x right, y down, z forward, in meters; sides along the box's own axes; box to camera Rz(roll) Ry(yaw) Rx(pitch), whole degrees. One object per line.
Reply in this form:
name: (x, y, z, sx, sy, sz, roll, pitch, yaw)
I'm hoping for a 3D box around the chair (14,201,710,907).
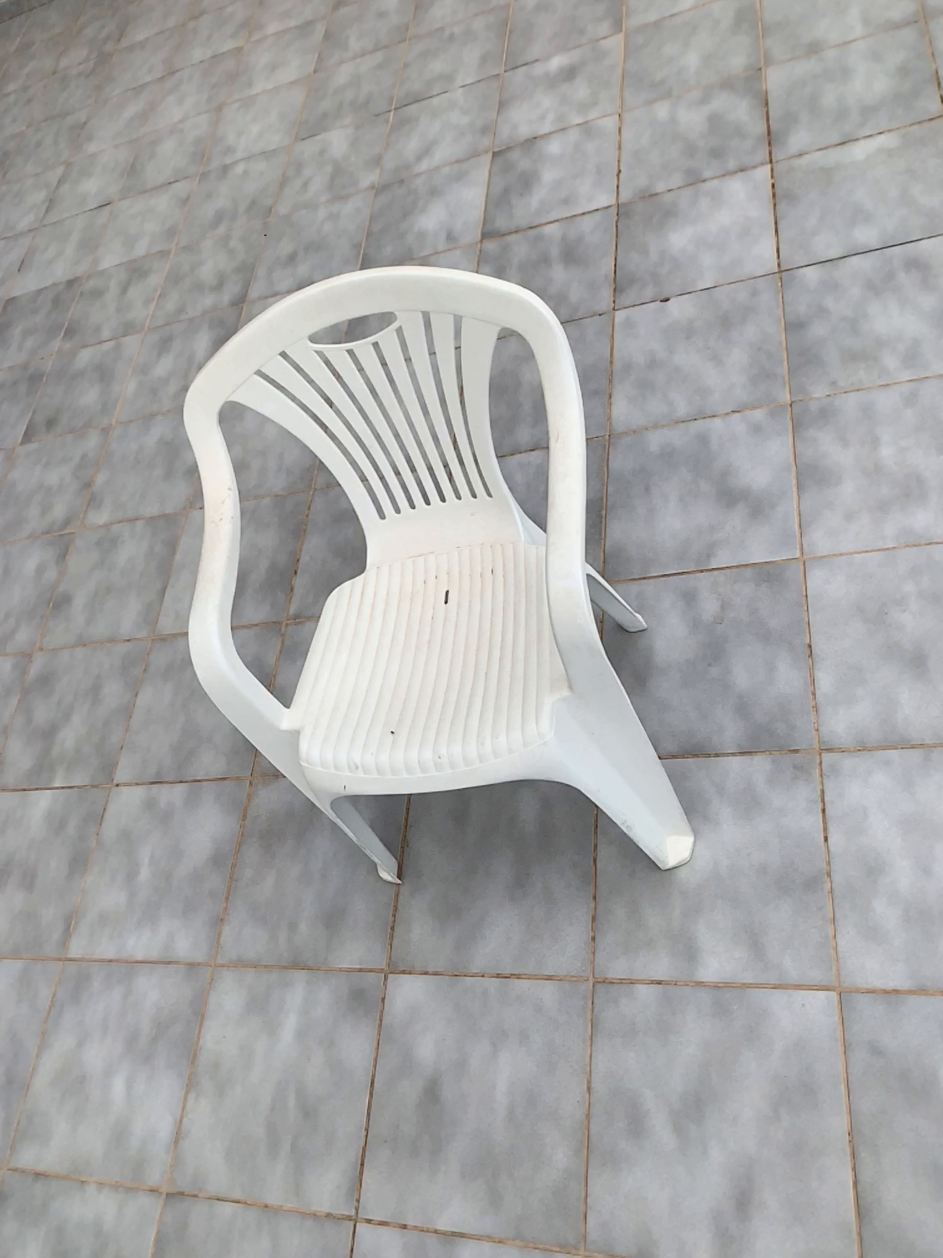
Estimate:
chair: (-0.057, -0.018, 1.262, 0.571, 0.667, 0.561, -10, 58, 19)
